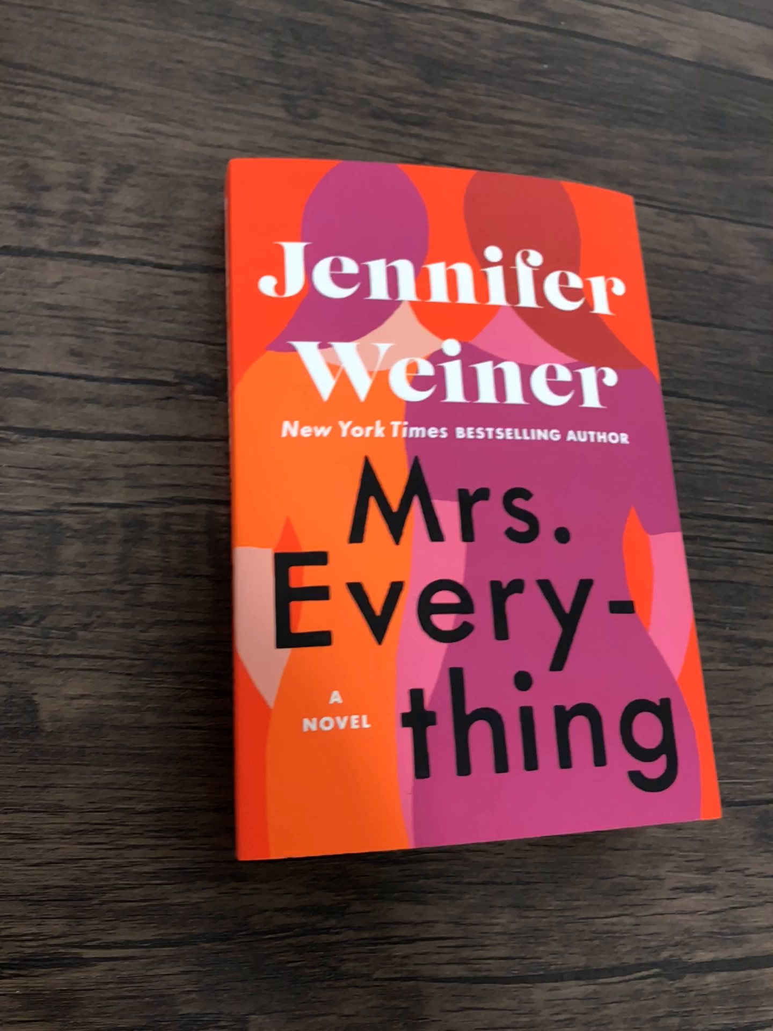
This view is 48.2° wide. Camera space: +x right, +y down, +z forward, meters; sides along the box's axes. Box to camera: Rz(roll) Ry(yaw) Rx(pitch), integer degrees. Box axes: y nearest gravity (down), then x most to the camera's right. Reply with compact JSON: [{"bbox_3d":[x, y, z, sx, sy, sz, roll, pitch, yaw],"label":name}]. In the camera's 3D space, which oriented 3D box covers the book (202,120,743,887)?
[{"bbox_3d":[0.021,-0.009,0.295,0.161,0.047,0.232,1,76,-15],"label":"book"}]
